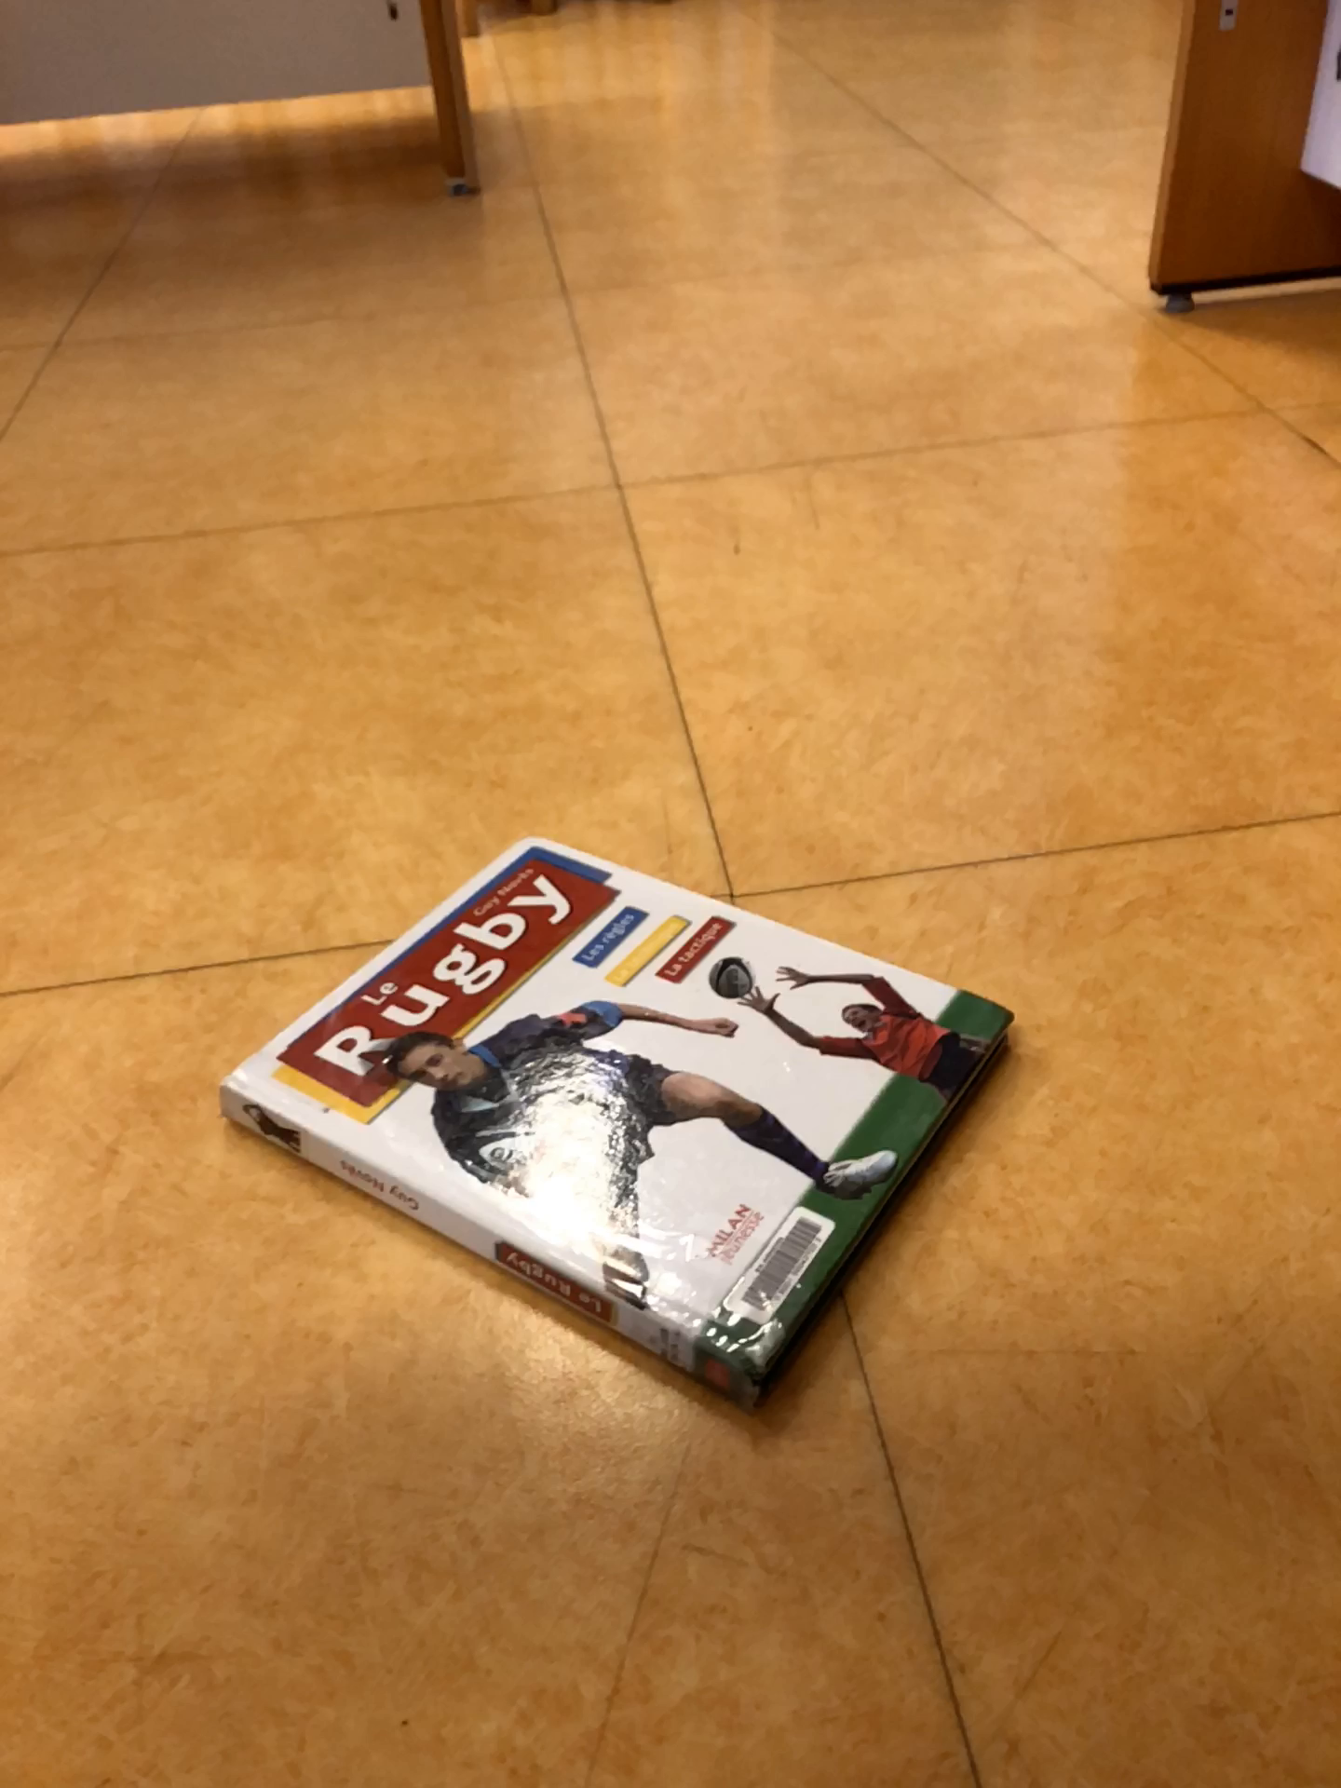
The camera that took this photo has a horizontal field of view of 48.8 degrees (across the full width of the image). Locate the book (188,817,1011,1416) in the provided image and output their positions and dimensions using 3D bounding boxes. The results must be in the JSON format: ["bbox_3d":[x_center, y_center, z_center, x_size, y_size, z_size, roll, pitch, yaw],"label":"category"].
[{"bbox_3d":[-0.027,0.066,0.598,0.260,0.024,0.204,20,44,28],"label":"book"}]
